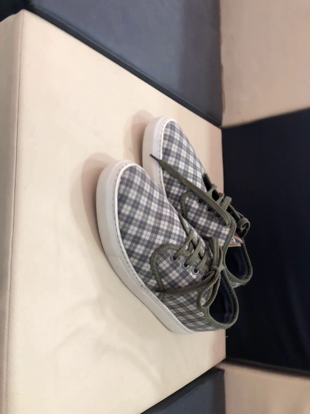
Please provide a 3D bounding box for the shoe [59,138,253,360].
[{"bbox_3d":[0.020,0.061,0.431,0.100,0.099,0.271,-54,129,-33],"label":"shoe"}]

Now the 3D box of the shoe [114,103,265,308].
[{"bbox_3d":[0.061,0.005,0.491,0.101,0.099,0.261,-46,123,-38],"label":"shoe"}]
